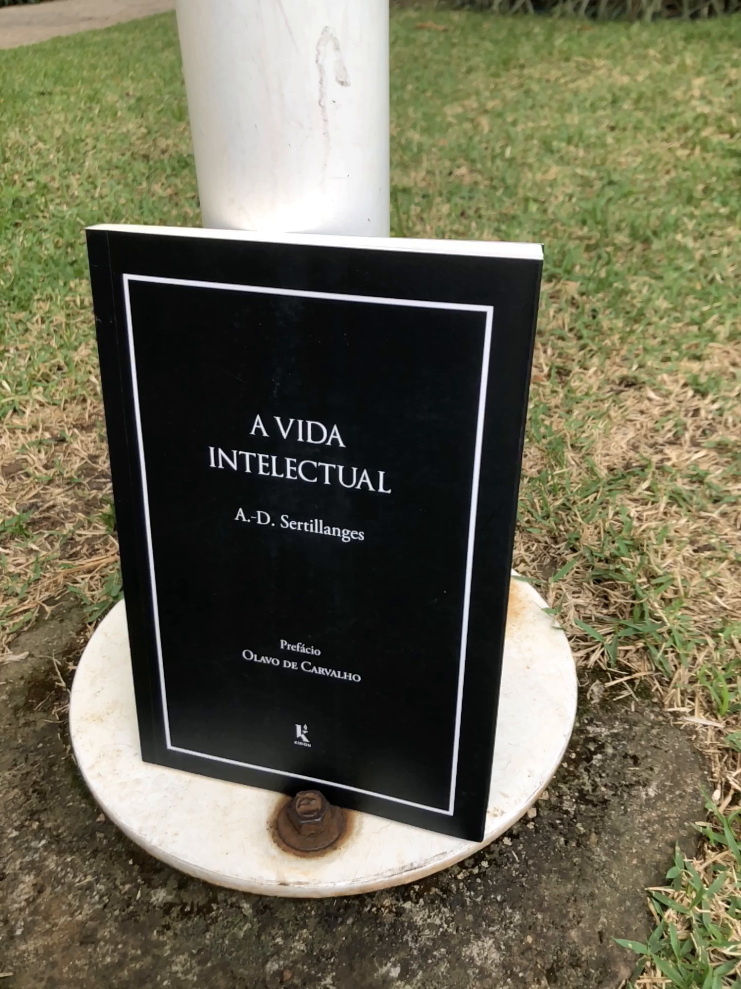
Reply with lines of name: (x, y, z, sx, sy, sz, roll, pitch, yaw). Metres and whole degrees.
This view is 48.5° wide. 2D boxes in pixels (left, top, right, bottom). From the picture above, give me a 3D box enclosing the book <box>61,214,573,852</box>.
book: (-0.019, 0.016, 0.264, 0.140, 0.193, 0.025, 8, 24, 15)
